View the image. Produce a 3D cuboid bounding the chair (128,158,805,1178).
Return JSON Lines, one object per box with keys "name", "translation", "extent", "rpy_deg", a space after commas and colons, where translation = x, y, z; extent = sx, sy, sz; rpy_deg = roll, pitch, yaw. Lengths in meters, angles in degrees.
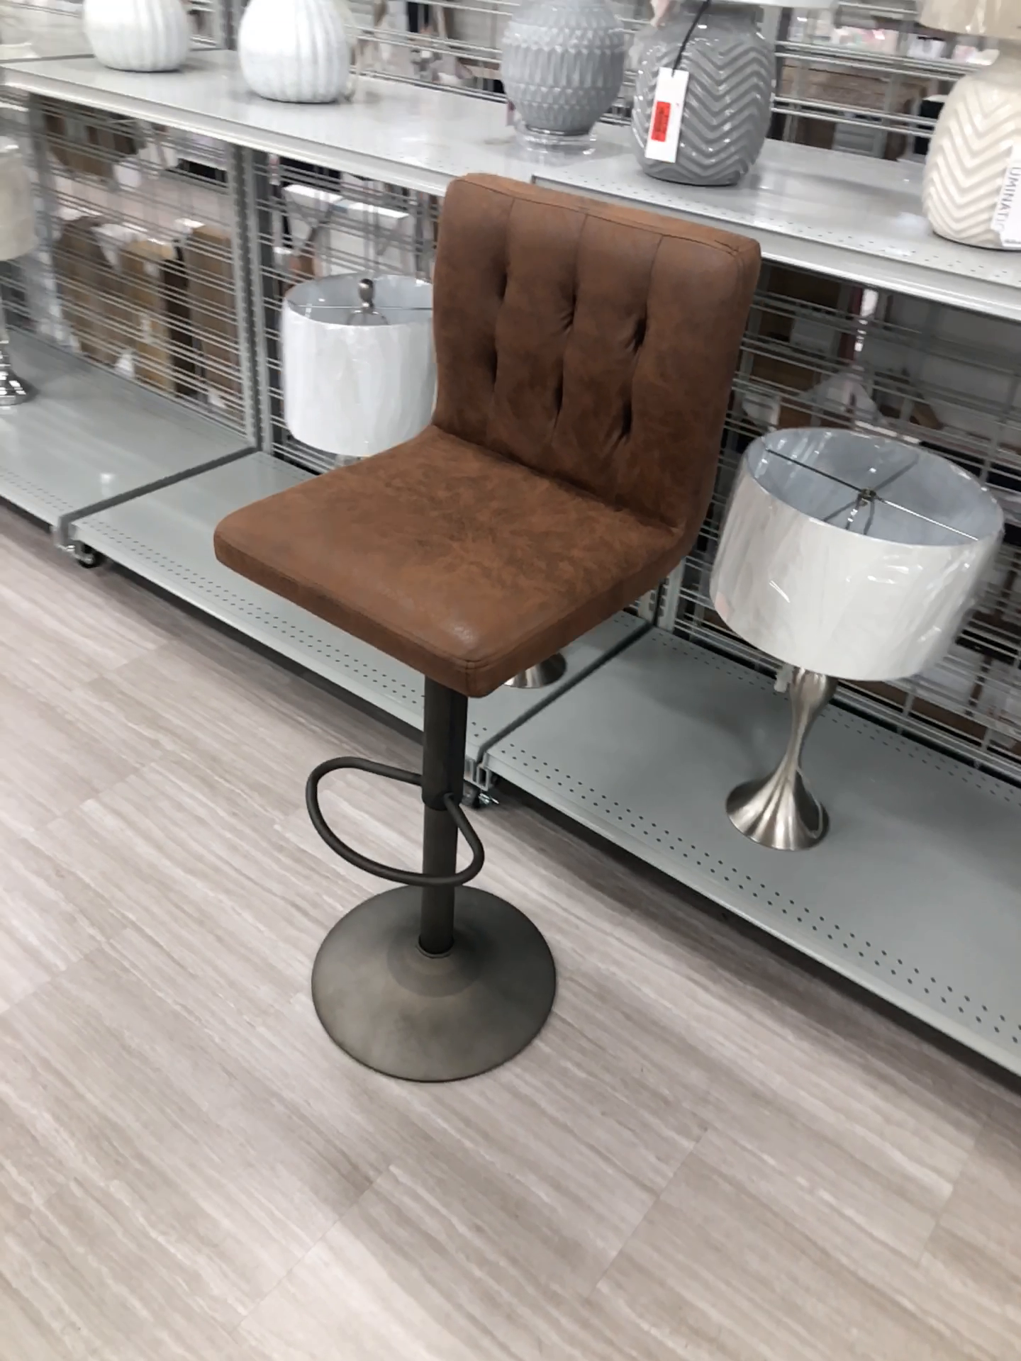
{"name": "chair", "translation": [-0.062, 0.003, 1.414], "extent": [0.475, 1.102, 0.470], "rpy_deg": [27, 41, 30]}
